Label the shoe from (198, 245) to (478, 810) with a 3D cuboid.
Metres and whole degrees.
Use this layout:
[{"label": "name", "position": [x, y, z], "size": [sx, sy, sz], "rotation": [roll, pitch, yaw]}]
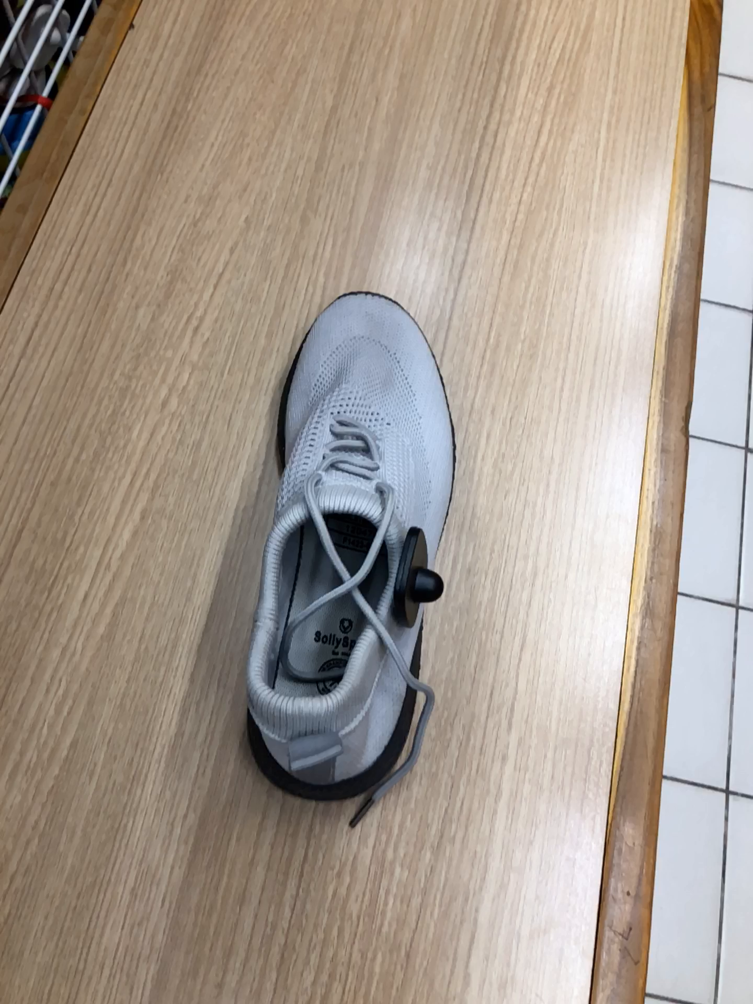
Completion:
[{"label": "shoe", "position": [-0.014, 0.013, 0.439], "size": [0.100, 0.100, 0.271], "rotation": [7, 68, -2]}]
